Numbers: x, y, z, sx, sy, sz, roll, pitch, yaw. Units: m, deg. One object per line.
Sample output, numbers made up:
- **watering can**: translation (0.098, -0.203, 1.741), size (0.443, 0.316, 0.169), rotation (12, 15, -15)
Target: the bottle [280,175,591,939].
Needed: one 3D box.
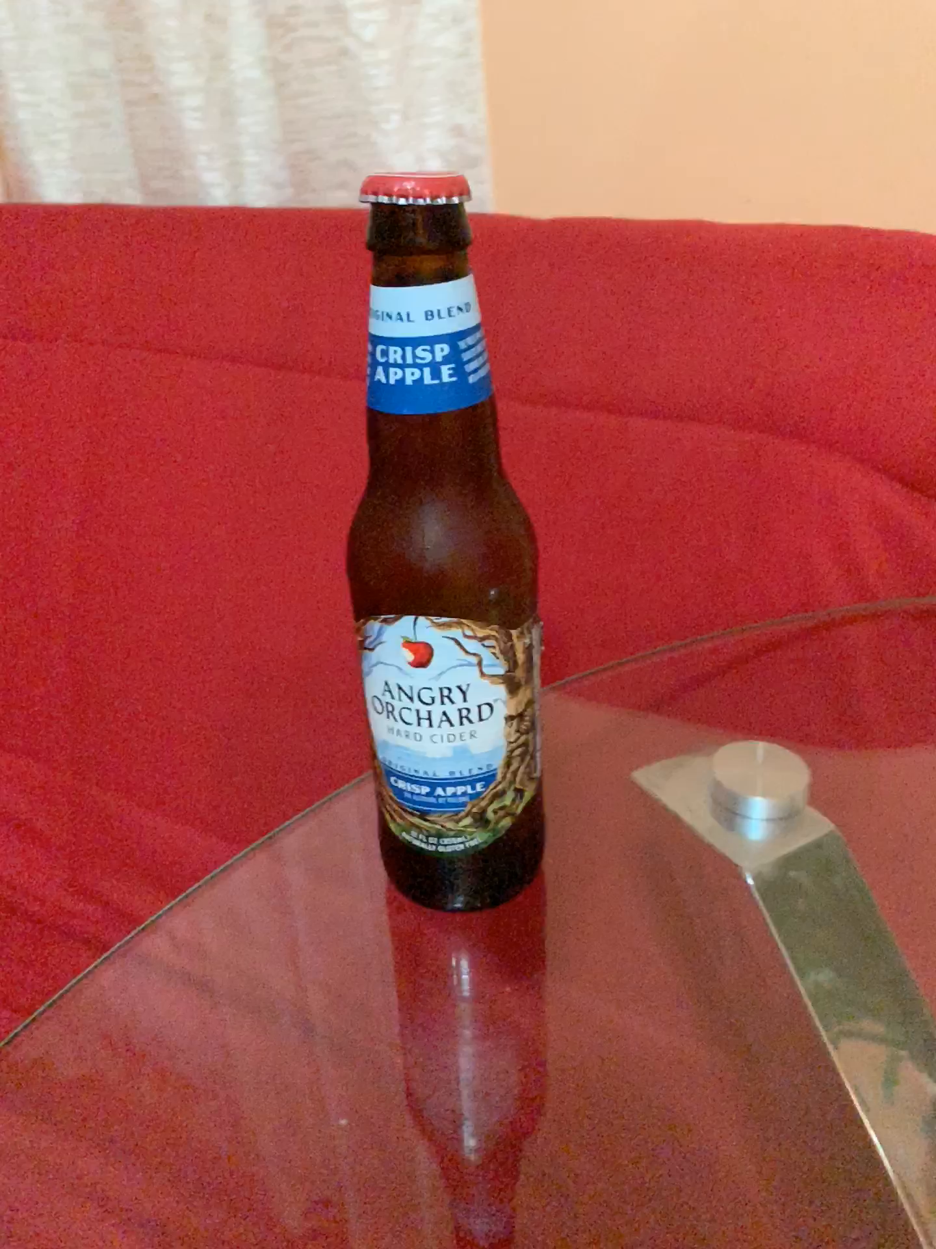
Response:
- **bottle**: translation (-0.002, -0.016, 0.312), size (0.070, 0.231, 0.070), rotation (-1, 26, 1)
